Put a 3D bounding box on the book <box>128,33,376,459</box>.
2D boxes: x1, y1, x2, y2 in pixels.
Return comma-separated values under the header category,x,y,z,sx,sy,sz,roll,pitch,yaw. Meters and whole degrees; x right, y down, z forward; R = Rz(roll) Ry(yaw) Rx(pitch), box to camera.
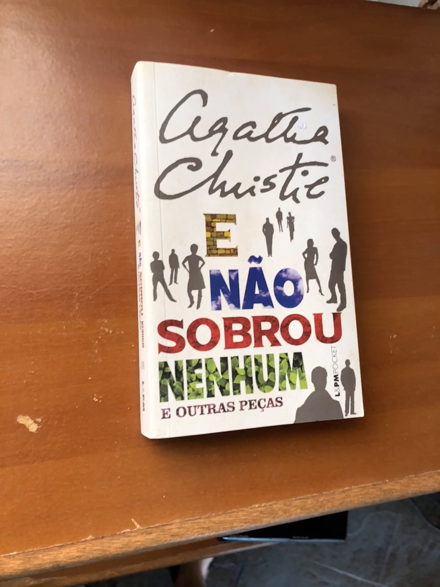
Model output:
category,x,y,z,sx,sy,sz,roll,pitch,yaw
book,0.014,-0.024,0.236,0.110,0.024,0.186,-1,85,-15
